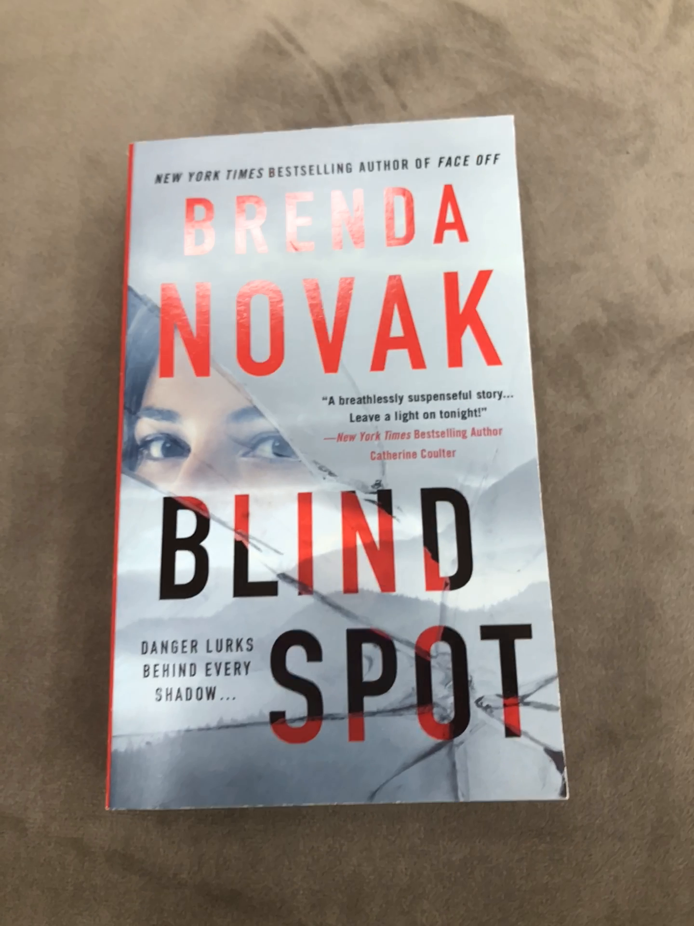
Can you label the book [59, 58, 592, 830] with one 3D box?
[{"bbox_3d":[-0.007,-0.007,0.218,0.120,0.050,0.190,-3,78,6],"label":"book"}]
